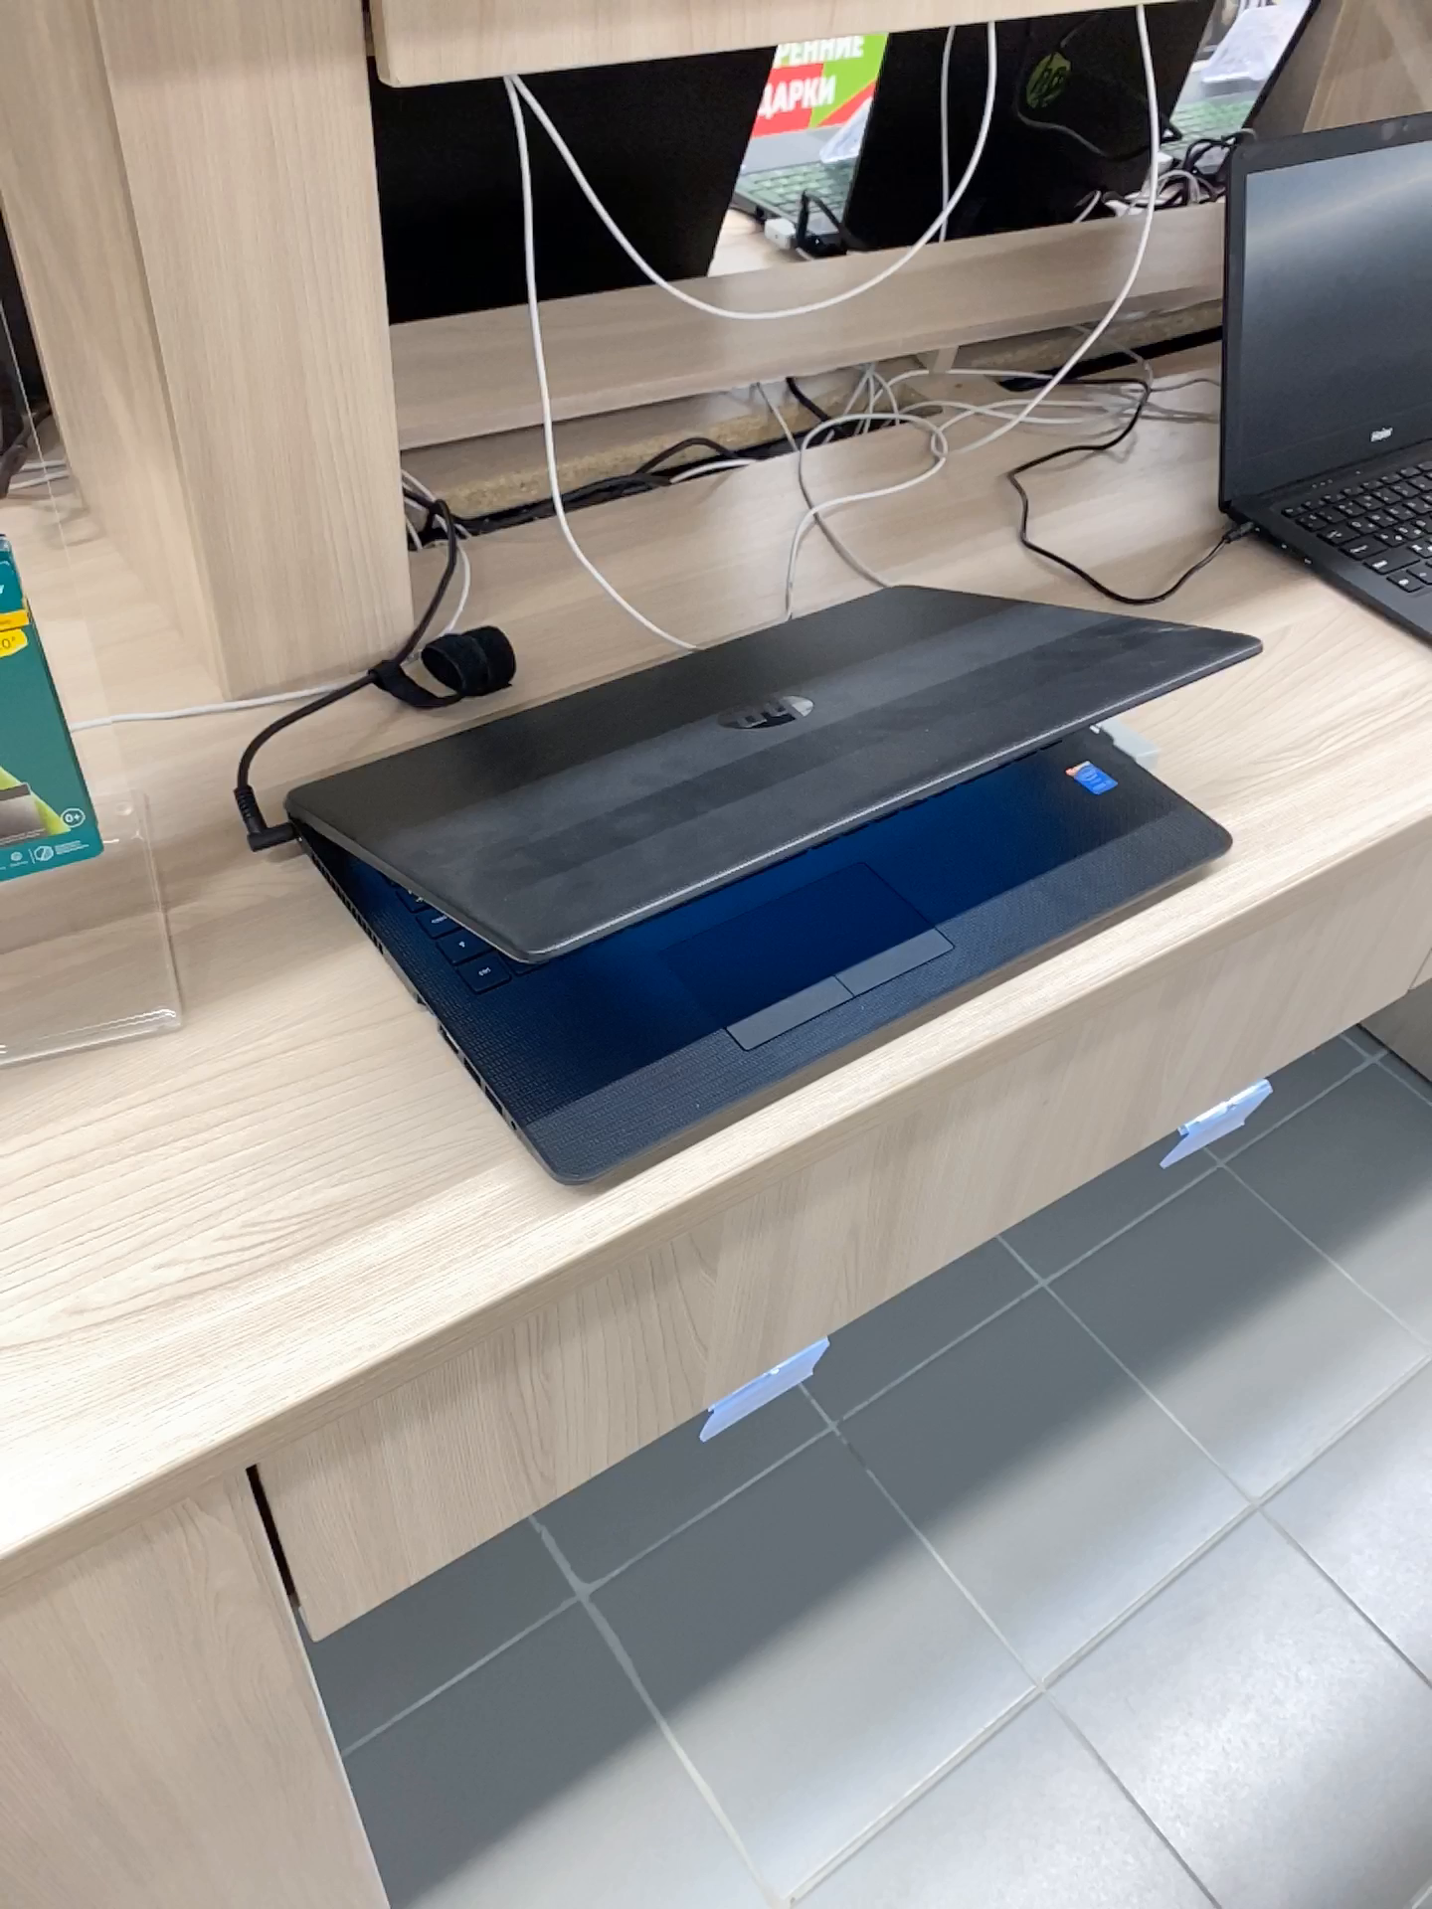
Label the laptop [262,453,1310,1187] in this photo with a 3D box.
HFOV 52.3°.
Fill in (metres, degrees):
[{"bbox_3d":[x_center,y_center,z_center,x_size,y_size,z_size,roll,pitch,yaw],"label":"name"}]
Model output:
[{"bbox_3d":[0.033,-0.091,0.654,0.373,0.093,0.252,-24,52,-28],"label":"laptop"}]
